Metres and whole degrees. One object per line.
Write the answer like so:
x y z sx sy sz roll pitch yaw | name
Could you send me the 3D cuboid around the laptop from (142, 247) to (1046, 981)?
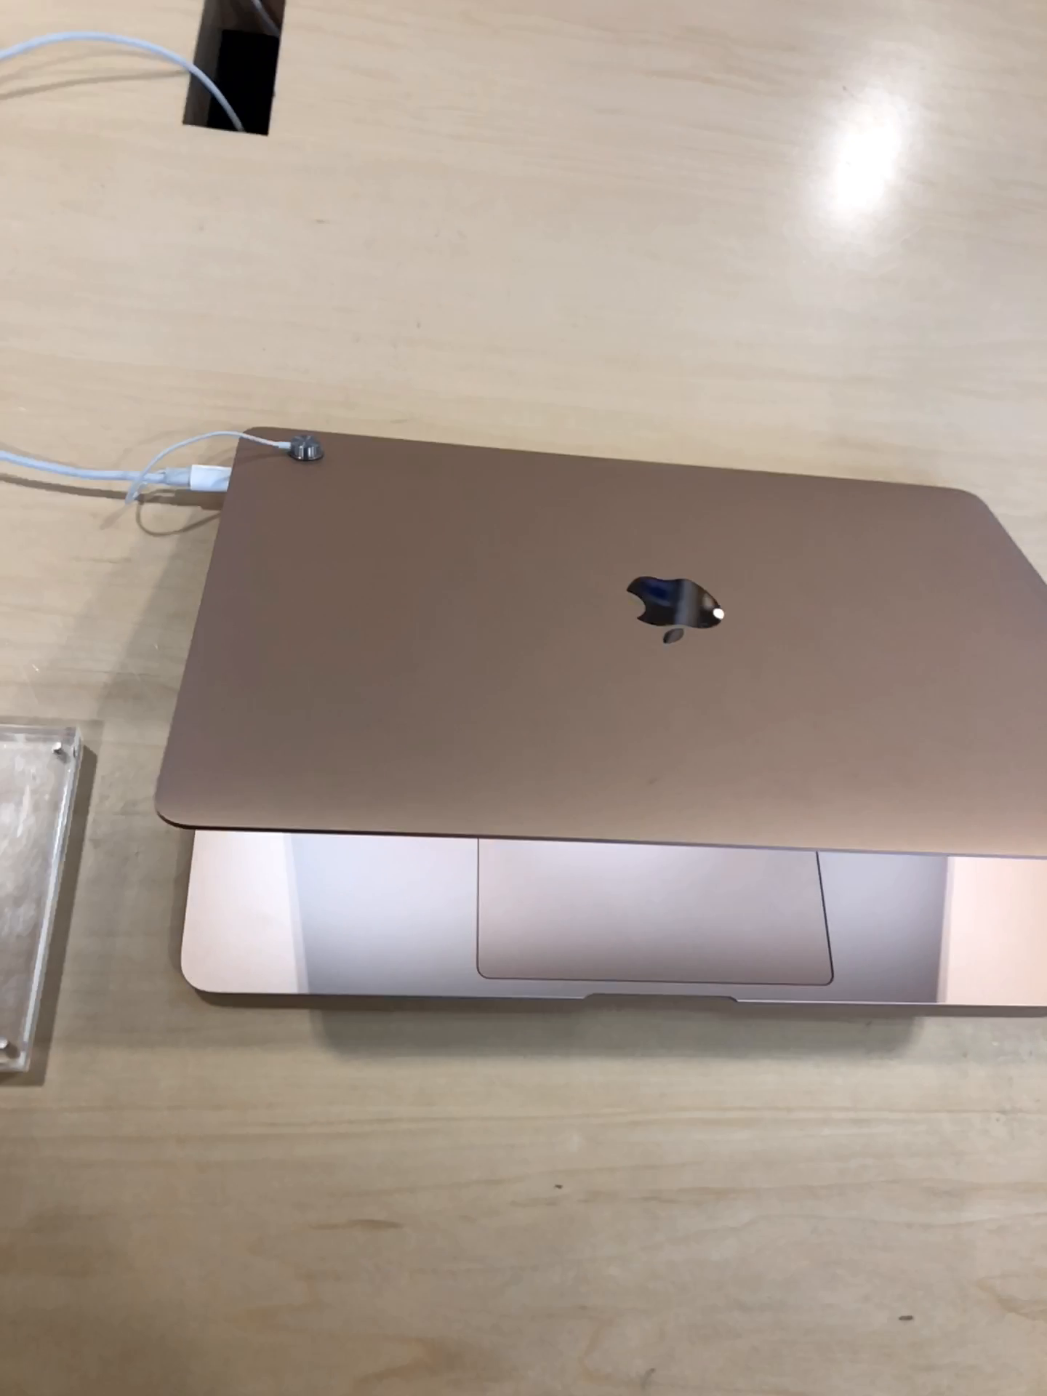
0.050 -0.022 0.371 0.288 0.093 0.203 3 63 -8 | laptop
